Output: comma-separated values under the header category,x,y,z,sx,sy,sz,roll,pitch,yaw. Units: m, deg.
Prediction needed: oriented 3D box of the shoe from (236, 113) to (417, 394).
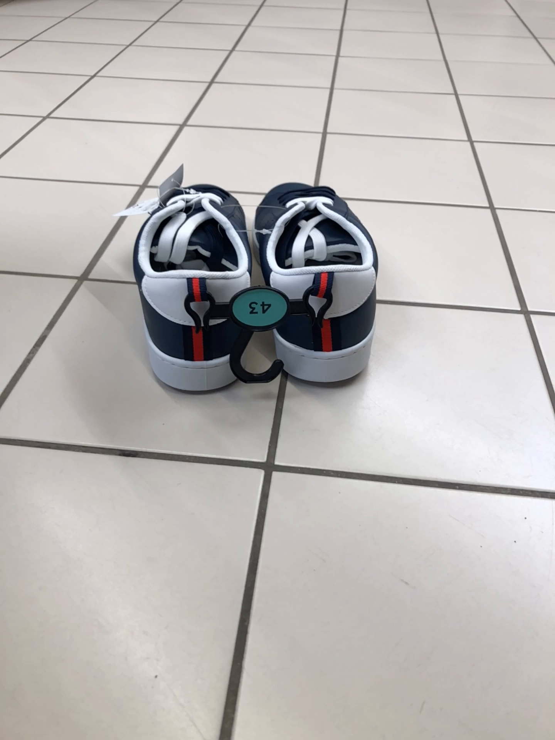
category,x,y,z,sx,sy,sz,roll,pitch,yaw
shoe,0.023,-0.118,0.522,0.100,0.099,0.292,-3,41,-5

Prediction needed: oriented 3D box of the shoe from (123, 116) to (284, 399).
category,x,y,z,sx,sy,sz,roll,pitch,yaw
shoe,-0.066,-0.115,0.521,0.100,0.099,0.292,-5,41,-6
